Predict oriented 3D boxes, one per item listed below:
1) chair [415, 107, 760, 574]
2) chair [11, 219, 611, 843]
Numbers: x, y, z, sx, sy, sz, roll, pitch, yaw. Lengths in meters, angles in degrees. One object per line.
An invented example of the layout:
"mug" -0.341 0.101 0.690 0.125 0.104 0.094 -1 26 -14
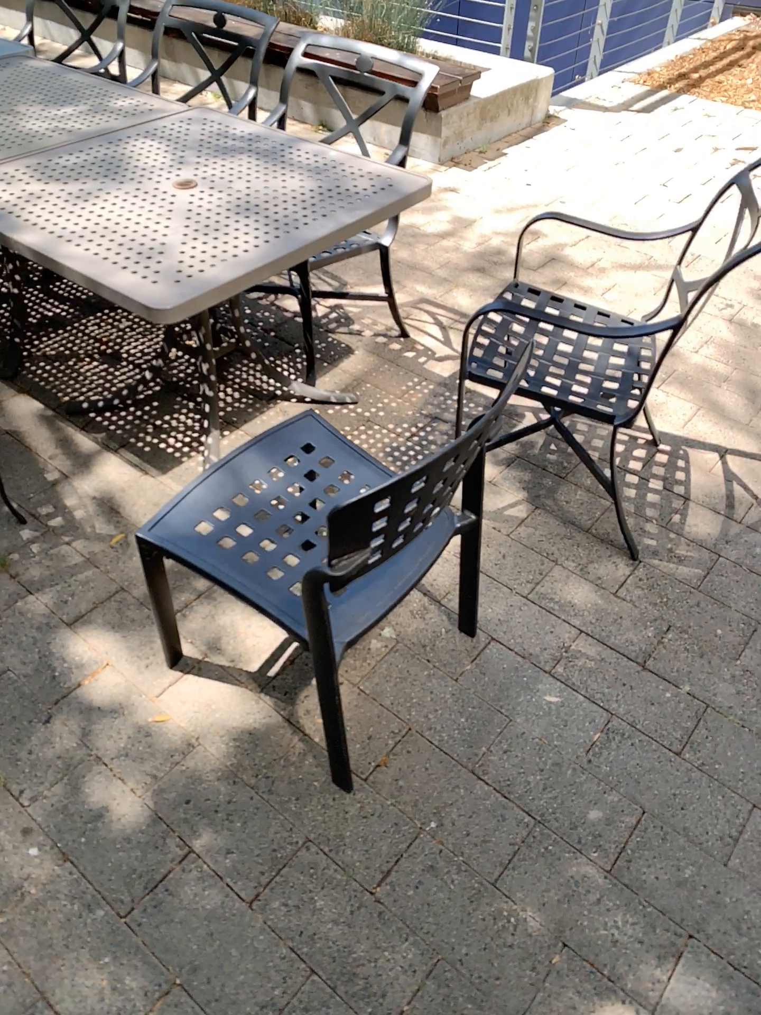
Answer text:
"chair" 0.500 -0.398 1.805 0.651 0.756 0.623 14 45 12
"chair" -0.091 0.012 1.395 0.652 0.706 0.622 26 49 23
